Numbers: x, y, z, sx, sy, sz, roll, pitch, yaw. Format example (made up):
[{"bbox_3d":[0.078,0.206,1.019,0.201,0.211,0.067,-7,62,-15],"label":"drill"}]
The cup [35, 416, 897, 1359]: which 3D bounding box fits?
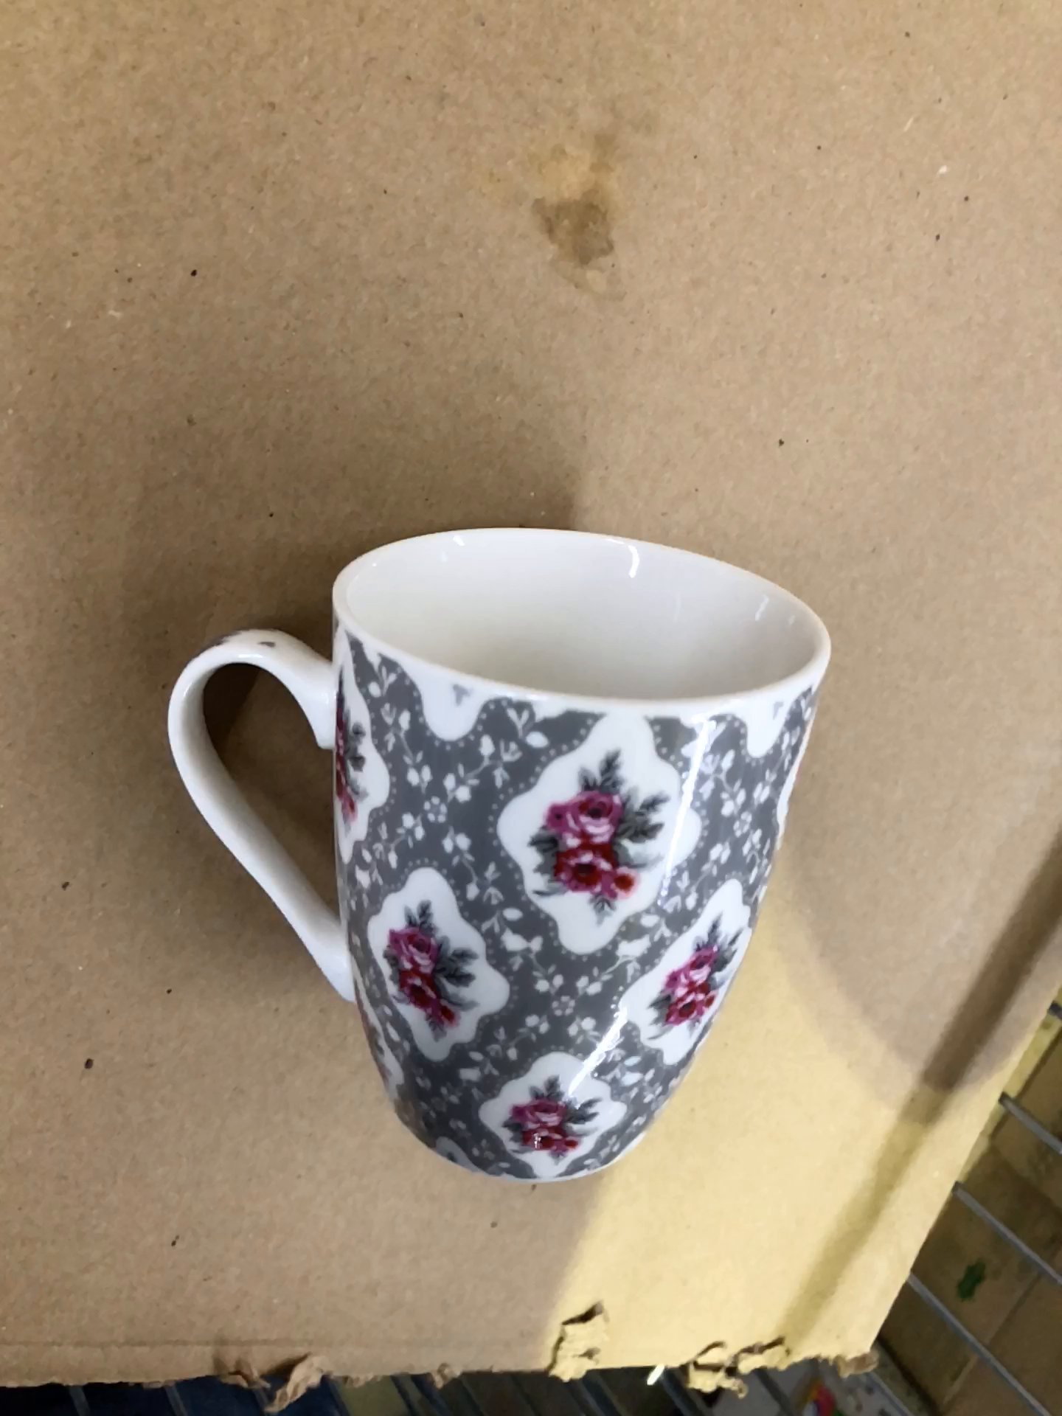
[{"bbox_3d":[-0.007,0.021,0.192,0.100,0.080,0.110,9,113,8],"label":"cup"}]
